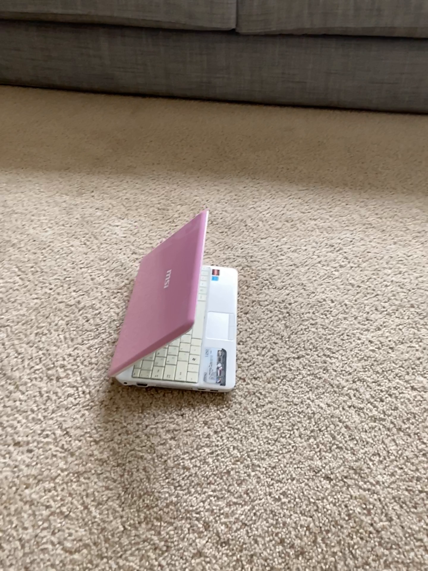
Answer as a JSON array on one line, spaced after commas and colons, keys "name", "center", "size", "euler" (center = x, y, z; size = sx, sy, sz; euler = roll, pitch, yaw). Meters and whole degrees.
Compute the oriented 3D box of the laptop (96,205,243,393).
[{"name": "laptop", "center": [-0.054, 0.009, 0.748], "size": [0.197, 0.122, 0.298], "euler": [5, 44, 0]}]
